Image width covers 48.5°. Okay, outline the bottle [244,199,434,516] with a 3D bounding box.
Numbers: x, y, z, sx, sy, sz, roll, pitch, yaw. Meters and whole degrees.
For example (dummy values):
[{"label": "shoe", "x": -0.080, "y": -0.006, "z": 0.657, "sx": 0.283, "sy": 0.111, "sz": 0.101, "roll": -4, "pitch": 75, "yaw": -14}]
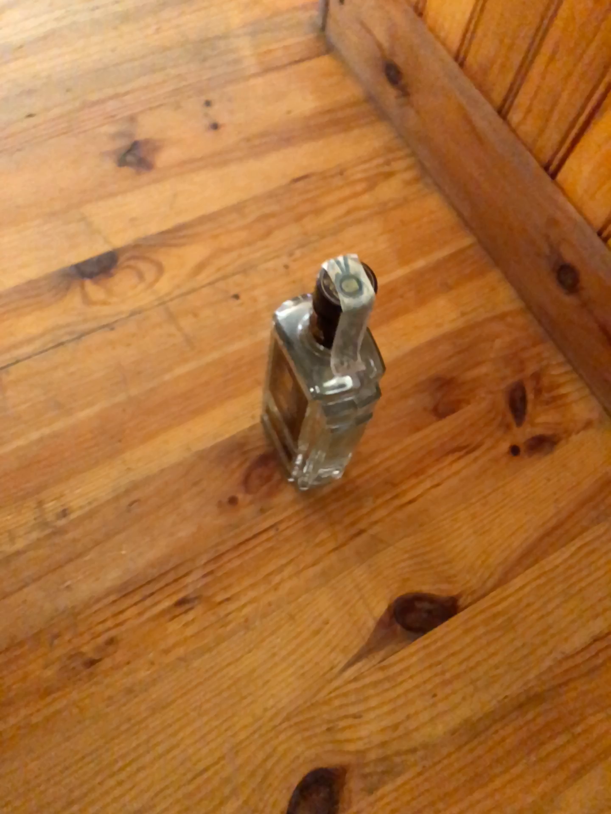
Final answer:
[{"label": "bottle", "x": 0.005, "y": -0.012, "z": 0.462, "sx": 0.060, "sy": 0.249, "sz": 0.100, "roll": -20, "pitch": 71, "yaw": -14}]
